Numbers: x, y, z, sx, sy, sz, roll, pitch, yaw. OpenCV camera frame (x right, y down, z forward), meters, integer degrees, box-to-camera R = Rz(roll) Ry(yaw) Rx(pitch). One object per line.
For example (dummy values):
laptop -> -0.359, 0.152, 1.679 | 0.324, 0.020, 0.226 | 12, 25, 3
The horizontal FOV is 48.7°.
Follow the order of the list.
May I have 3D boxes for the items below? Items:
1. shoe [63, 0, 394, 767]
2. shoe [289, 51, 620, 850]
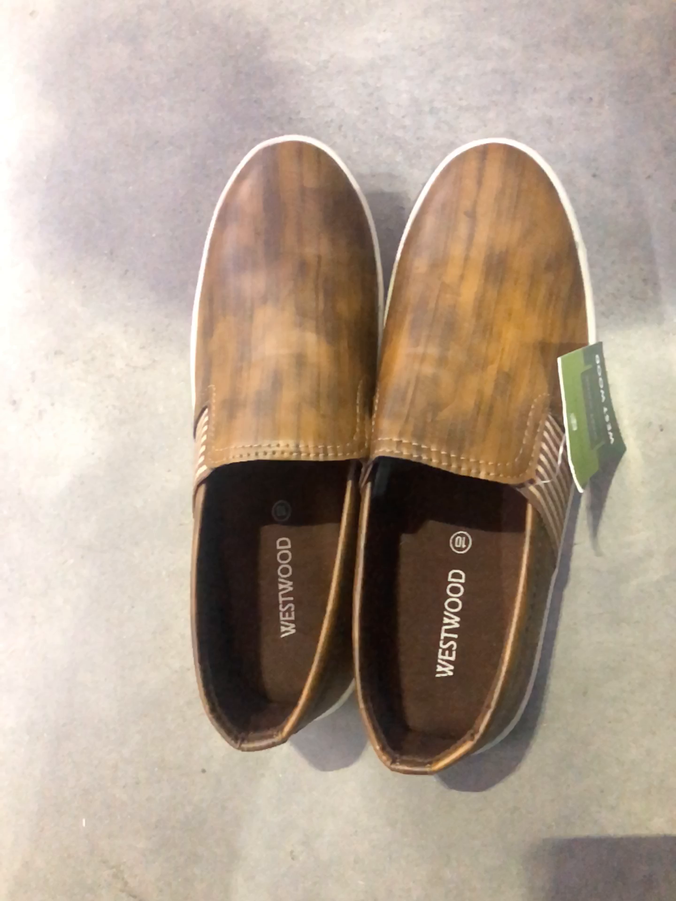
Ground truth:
shoe -> -0.042, -0.026, 0.338 | 0.110, 0.100, 0.290 | -3, 82, 15
shoe -> 0.060, -0.006, 0.350 | 0.110, 0.100, 0.310 | 4, 84, 15
